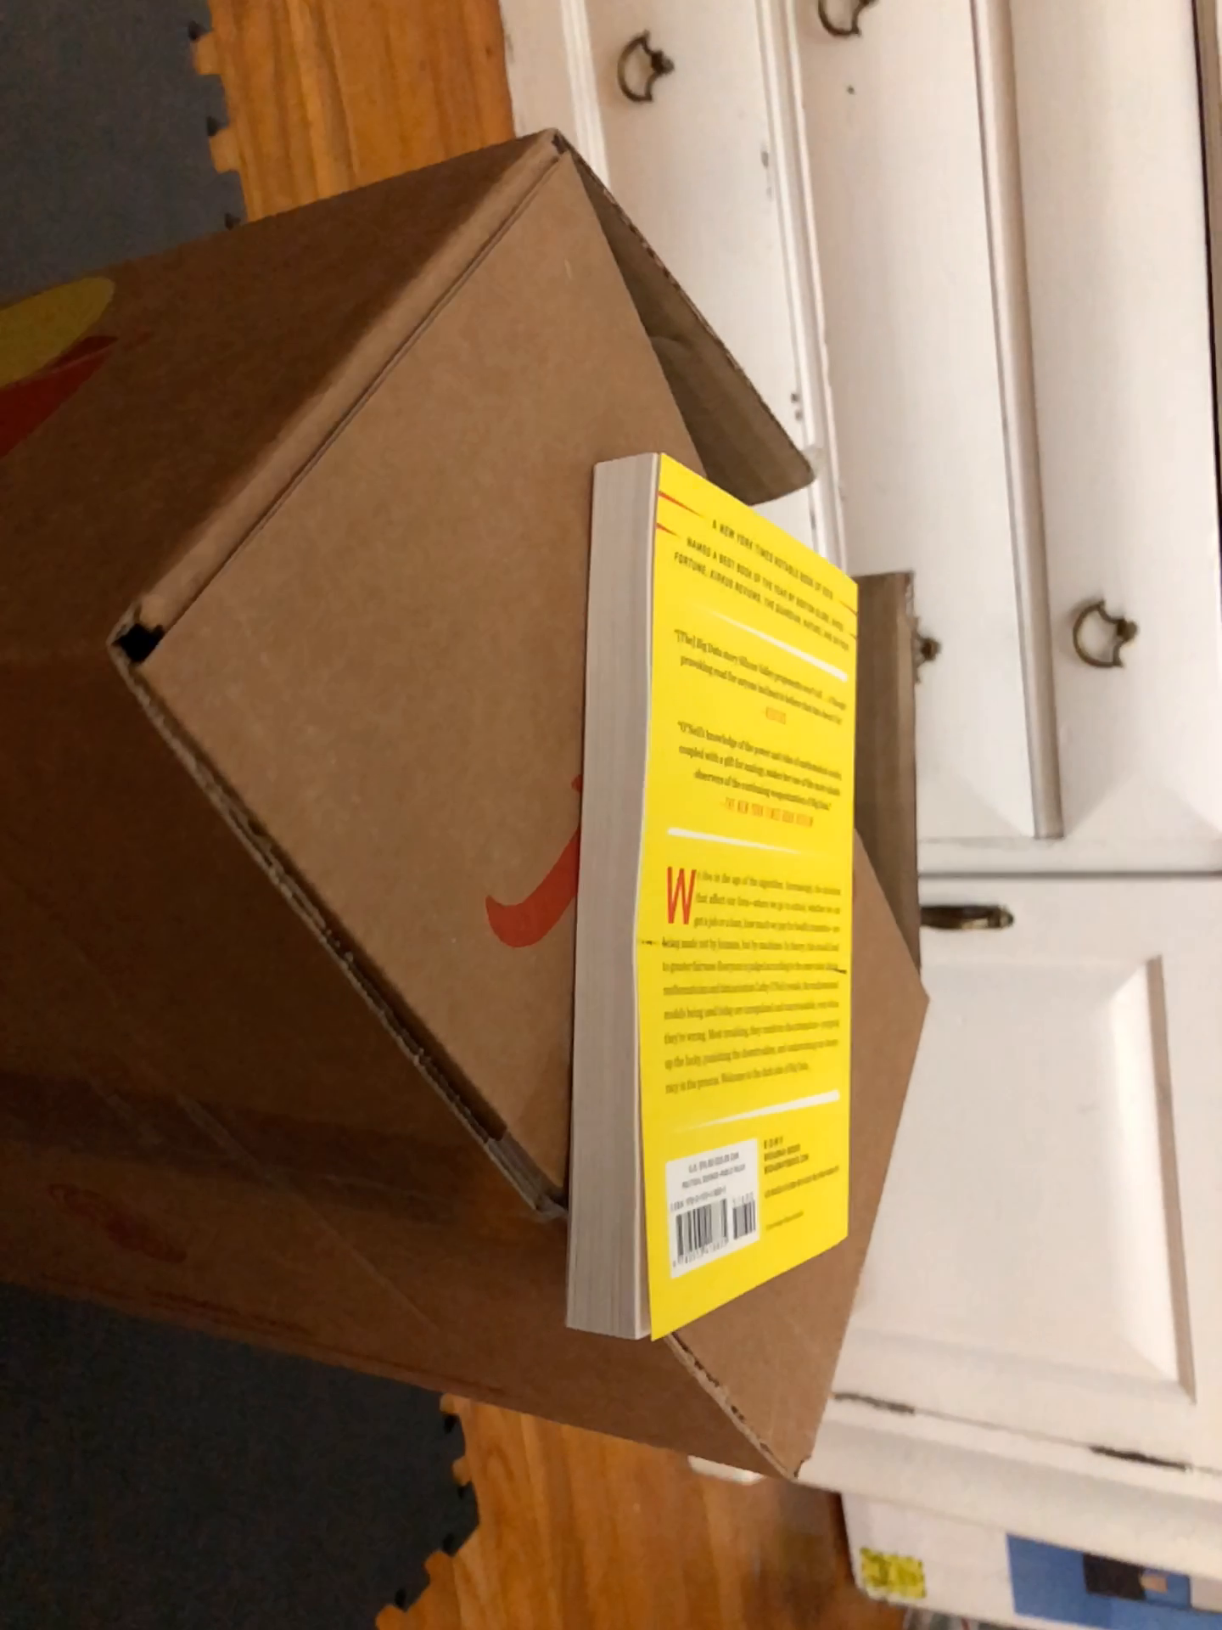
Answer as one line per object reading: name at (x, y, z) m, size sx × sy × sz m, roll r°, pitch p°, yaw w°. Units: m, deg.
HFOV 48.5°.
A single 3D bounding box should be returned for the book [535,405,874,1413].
book at (0.034, 0.023, 0.366) m, size 0.151 × 0.020 × 0.220 m, roll 9°, pitch 81°, yaw -58°
